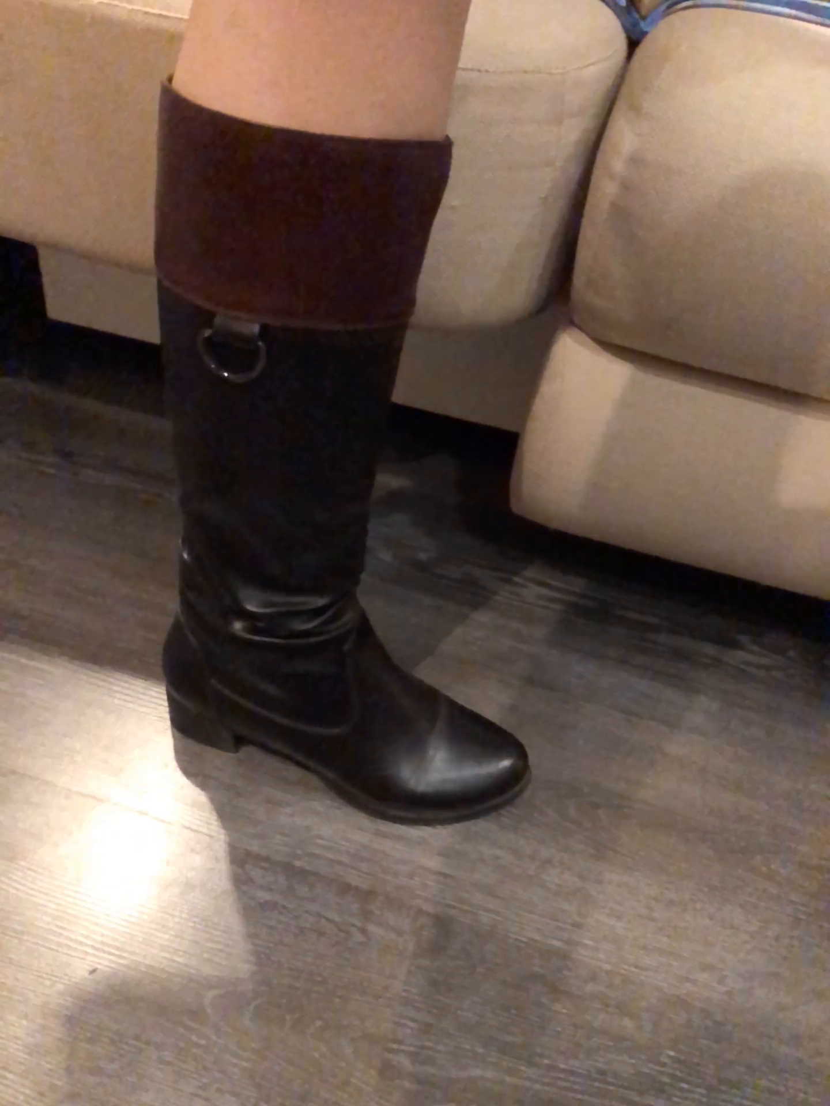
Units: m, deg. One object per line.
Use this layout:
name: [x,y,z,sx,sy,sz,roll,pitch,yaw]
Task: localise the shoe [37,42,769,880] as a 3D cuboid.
shoe: [-0.022,-0.012,0.502,0.270,0.417,0.111,15,42,6]
